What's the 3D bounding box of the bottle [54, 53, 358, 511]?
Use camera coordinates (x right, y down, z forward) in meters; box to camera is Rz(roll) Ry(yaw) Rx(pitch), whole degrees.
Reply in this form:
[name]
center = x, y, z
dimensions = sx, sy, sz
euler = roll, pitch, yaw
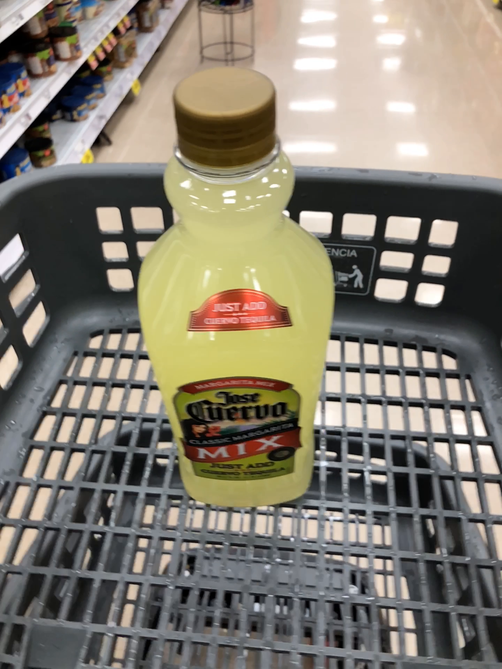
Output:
[bottle]
center = -0.013, -0.002, 0.328
dimensions = 0.110, 0.279, 0.080
euler = -1, 45, 1
